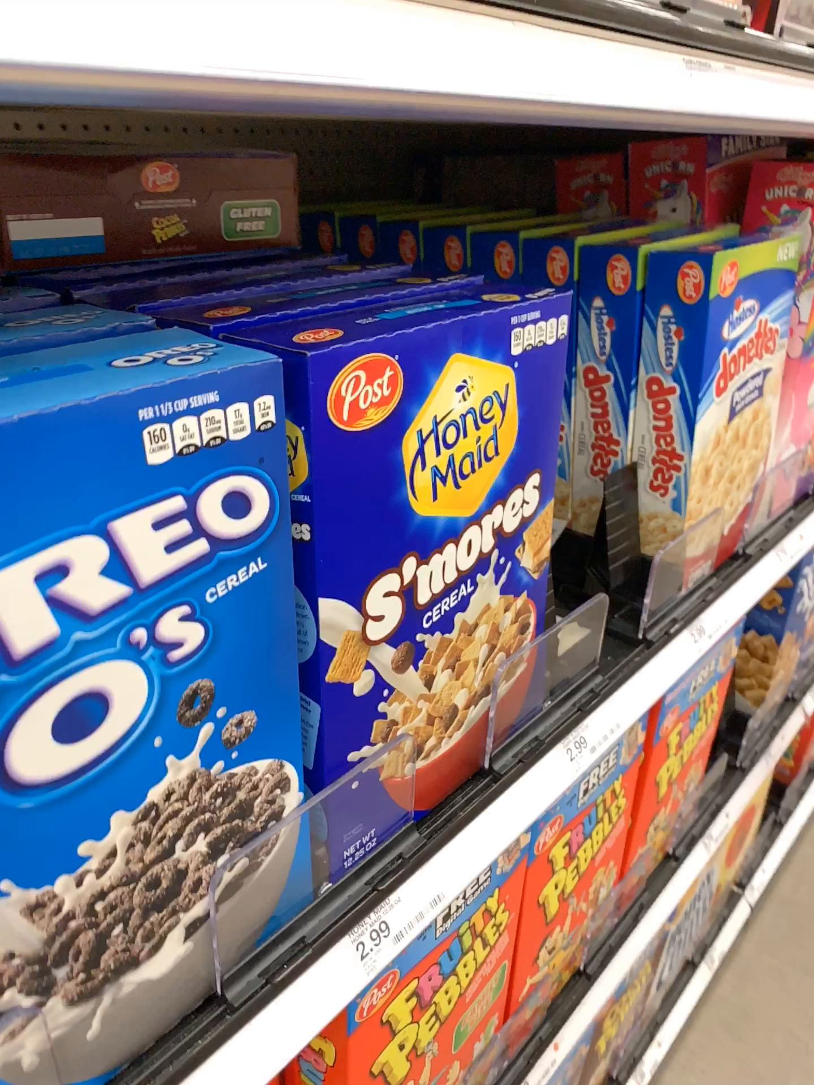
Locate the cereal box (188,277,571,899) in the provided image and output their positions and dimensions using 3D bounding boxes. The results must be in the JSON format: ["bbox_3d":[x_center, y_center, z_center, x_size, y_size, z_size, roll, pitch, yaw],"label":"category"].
[{"bbox_3d":[-0.002,0.014,0.438,0.060,0.269,0.191,20,32,37],"label":"cereal box"}]

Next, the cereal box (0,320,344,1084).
[{"bbox_3d":[-0.114,0.074,0.303,0.070,0.269,0.181,18,31,35],"label":"cereal box"}]
